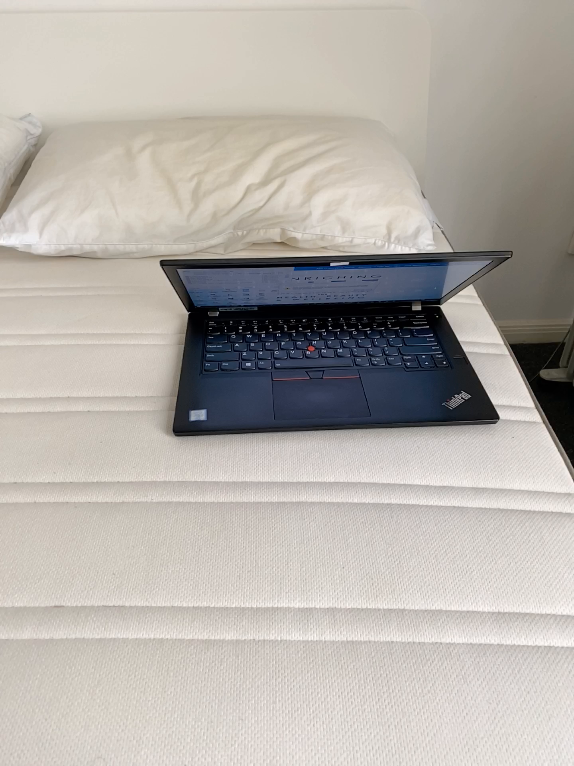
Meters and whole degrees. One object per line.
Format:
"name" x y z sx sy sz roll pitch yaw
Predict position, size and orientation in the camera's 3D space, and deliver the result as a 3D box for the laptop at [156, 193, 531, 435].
"laptop" 0.045 -0.085 0.633 0.324 0.150 0.221 -3 38 -3
